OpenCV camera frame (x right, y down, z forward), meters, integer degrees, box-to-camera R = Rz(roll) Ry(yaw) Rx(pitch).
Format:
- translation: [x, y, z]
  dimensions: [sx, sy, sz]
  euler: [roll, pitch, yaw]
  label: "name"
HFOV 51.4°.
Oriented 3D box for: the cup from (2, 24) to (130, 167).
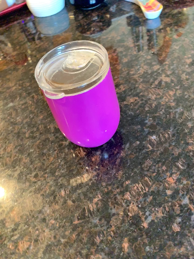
- translation: [-0.026, -0.038, 0.240]
  dimensions: [0.090, 0.110, 0.090]
  euler: [-5, 53, 7]
  label: "cup"
